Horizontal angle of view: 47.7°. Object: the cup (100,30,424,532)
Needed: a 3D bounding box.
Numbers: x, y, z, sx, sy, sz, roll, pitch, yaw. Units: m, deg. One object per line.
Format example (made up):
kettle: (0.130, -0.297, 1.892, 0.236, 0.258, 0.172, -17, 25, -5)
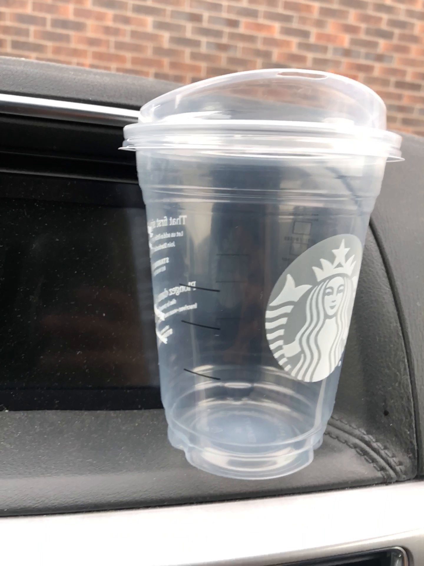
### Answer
cup: (0.020, -0.007, 0.170, 0.088, 0.125, 0.082, 6, 17, -2)
